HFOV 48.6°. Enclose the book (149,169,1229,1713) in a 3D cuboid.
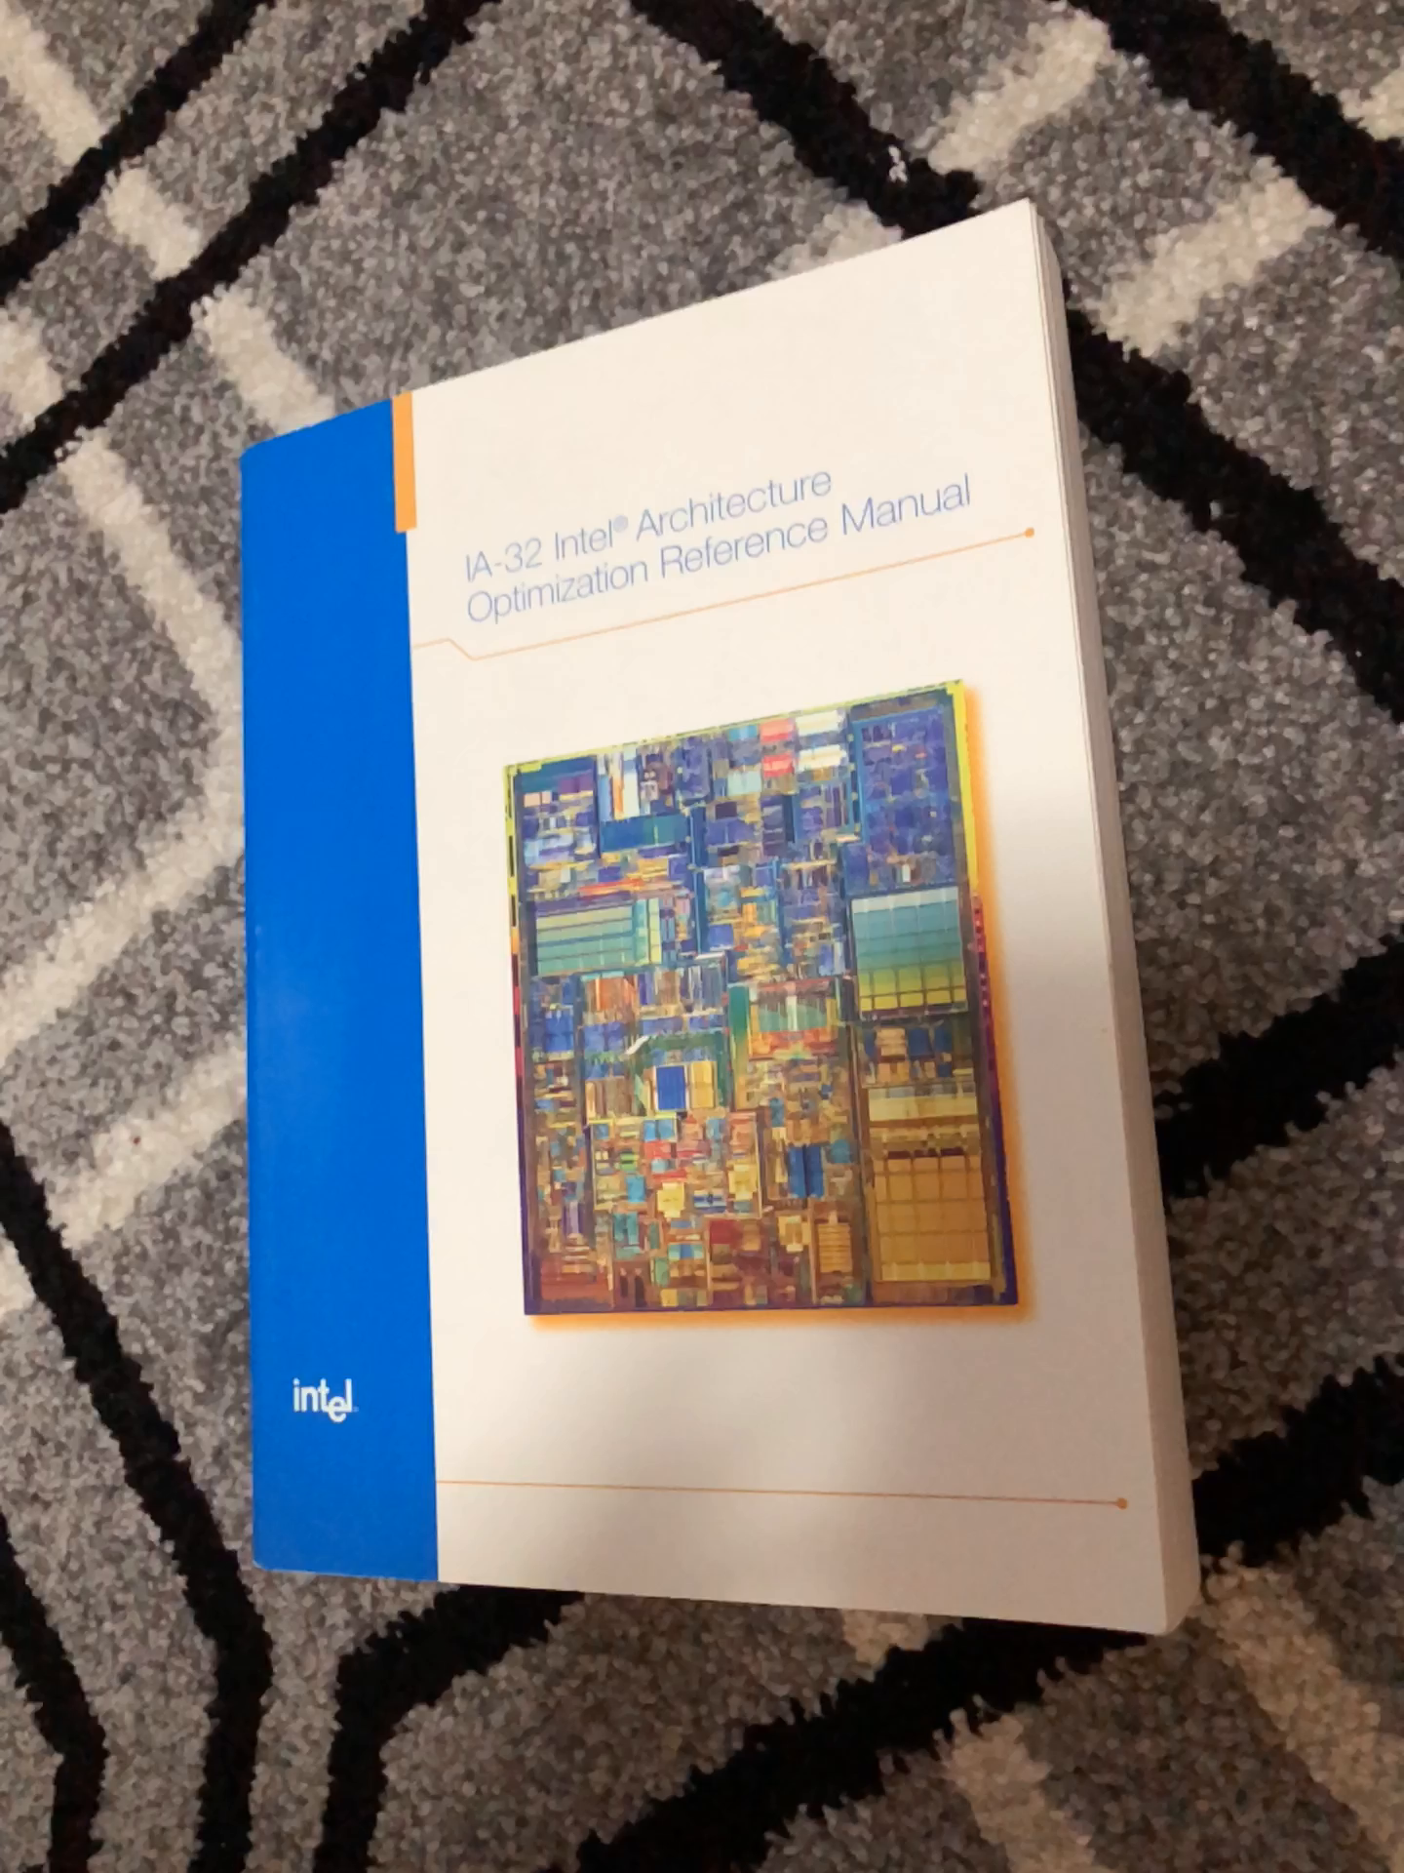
[{"bbox_3d":[-0.014,0.004,0.262,0.170,0.040,0.210,-7,80,25],"label":"book"}]
